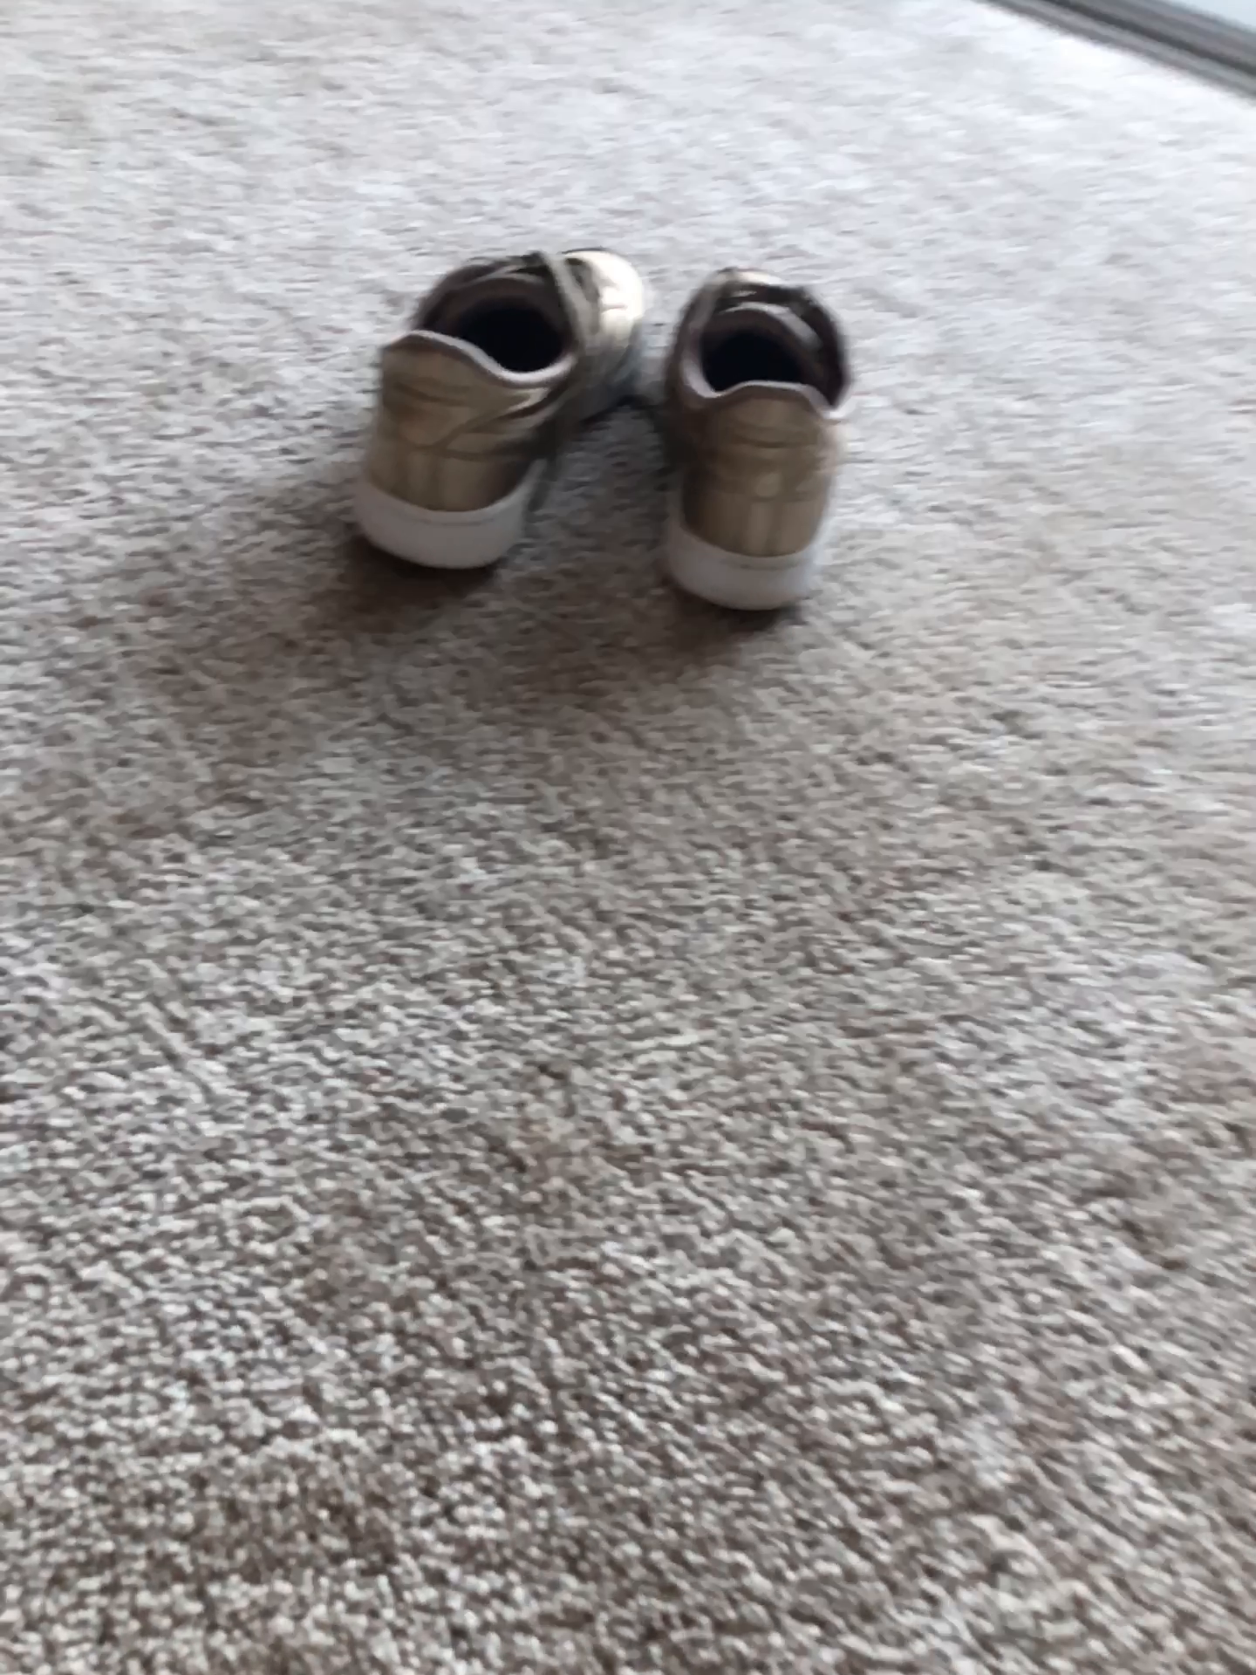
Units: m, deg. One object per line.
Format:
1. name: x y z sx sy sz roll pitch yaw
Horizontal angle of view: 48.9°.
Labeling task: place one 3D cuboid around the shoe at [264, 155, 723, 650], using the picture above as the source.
1. shoe: -0.047 -0.206 0.612 0.110 0.070 0.281 17 46 4

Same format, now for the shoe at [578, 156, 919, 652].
1. shoe: 0.063 -0.206 0.616 0.110 0.070 0.281 13 45 0
